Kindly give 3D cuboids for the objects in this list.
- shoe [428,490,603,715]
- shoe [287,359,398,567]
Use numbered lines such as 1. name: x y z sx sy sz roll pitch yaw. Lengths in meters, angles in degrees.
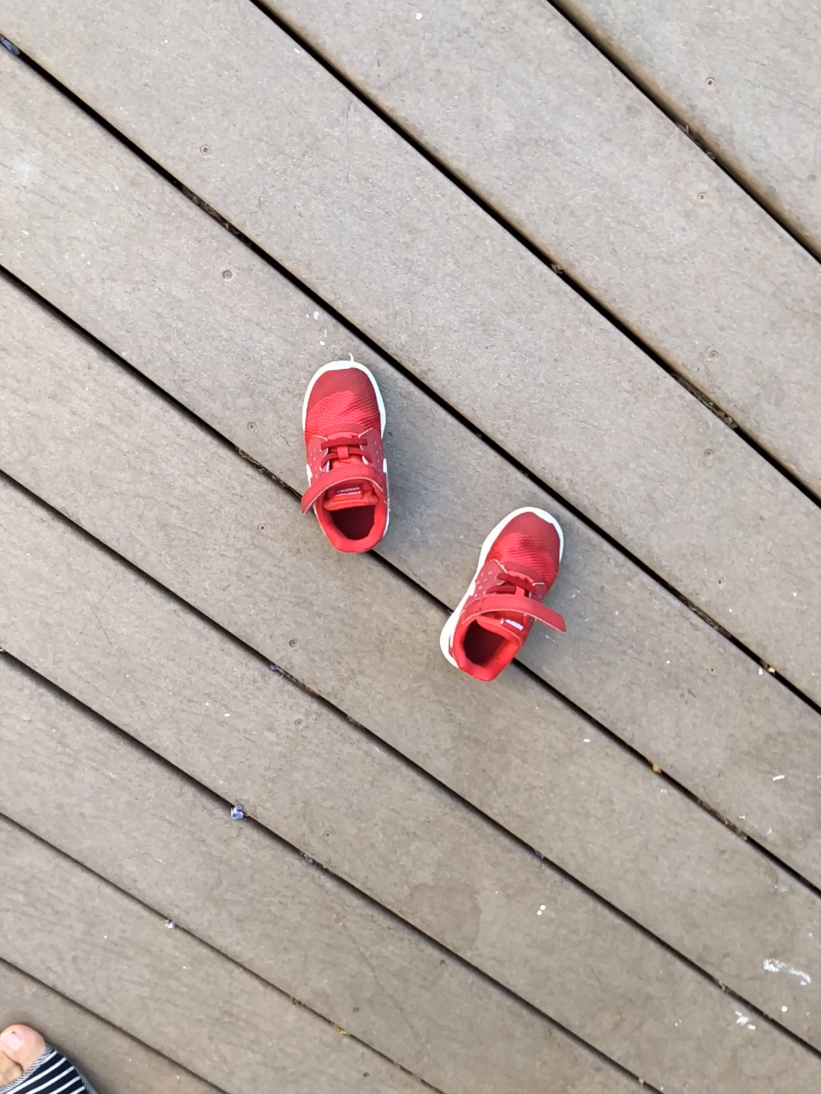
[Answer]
1. shoe: 0.085 0.046 0.762 0.069 0.069 0.164 25 103 -9
2. shoe: -0.052 -0.069 0.726 0.073 0.069 0.153 -4 106 -2
